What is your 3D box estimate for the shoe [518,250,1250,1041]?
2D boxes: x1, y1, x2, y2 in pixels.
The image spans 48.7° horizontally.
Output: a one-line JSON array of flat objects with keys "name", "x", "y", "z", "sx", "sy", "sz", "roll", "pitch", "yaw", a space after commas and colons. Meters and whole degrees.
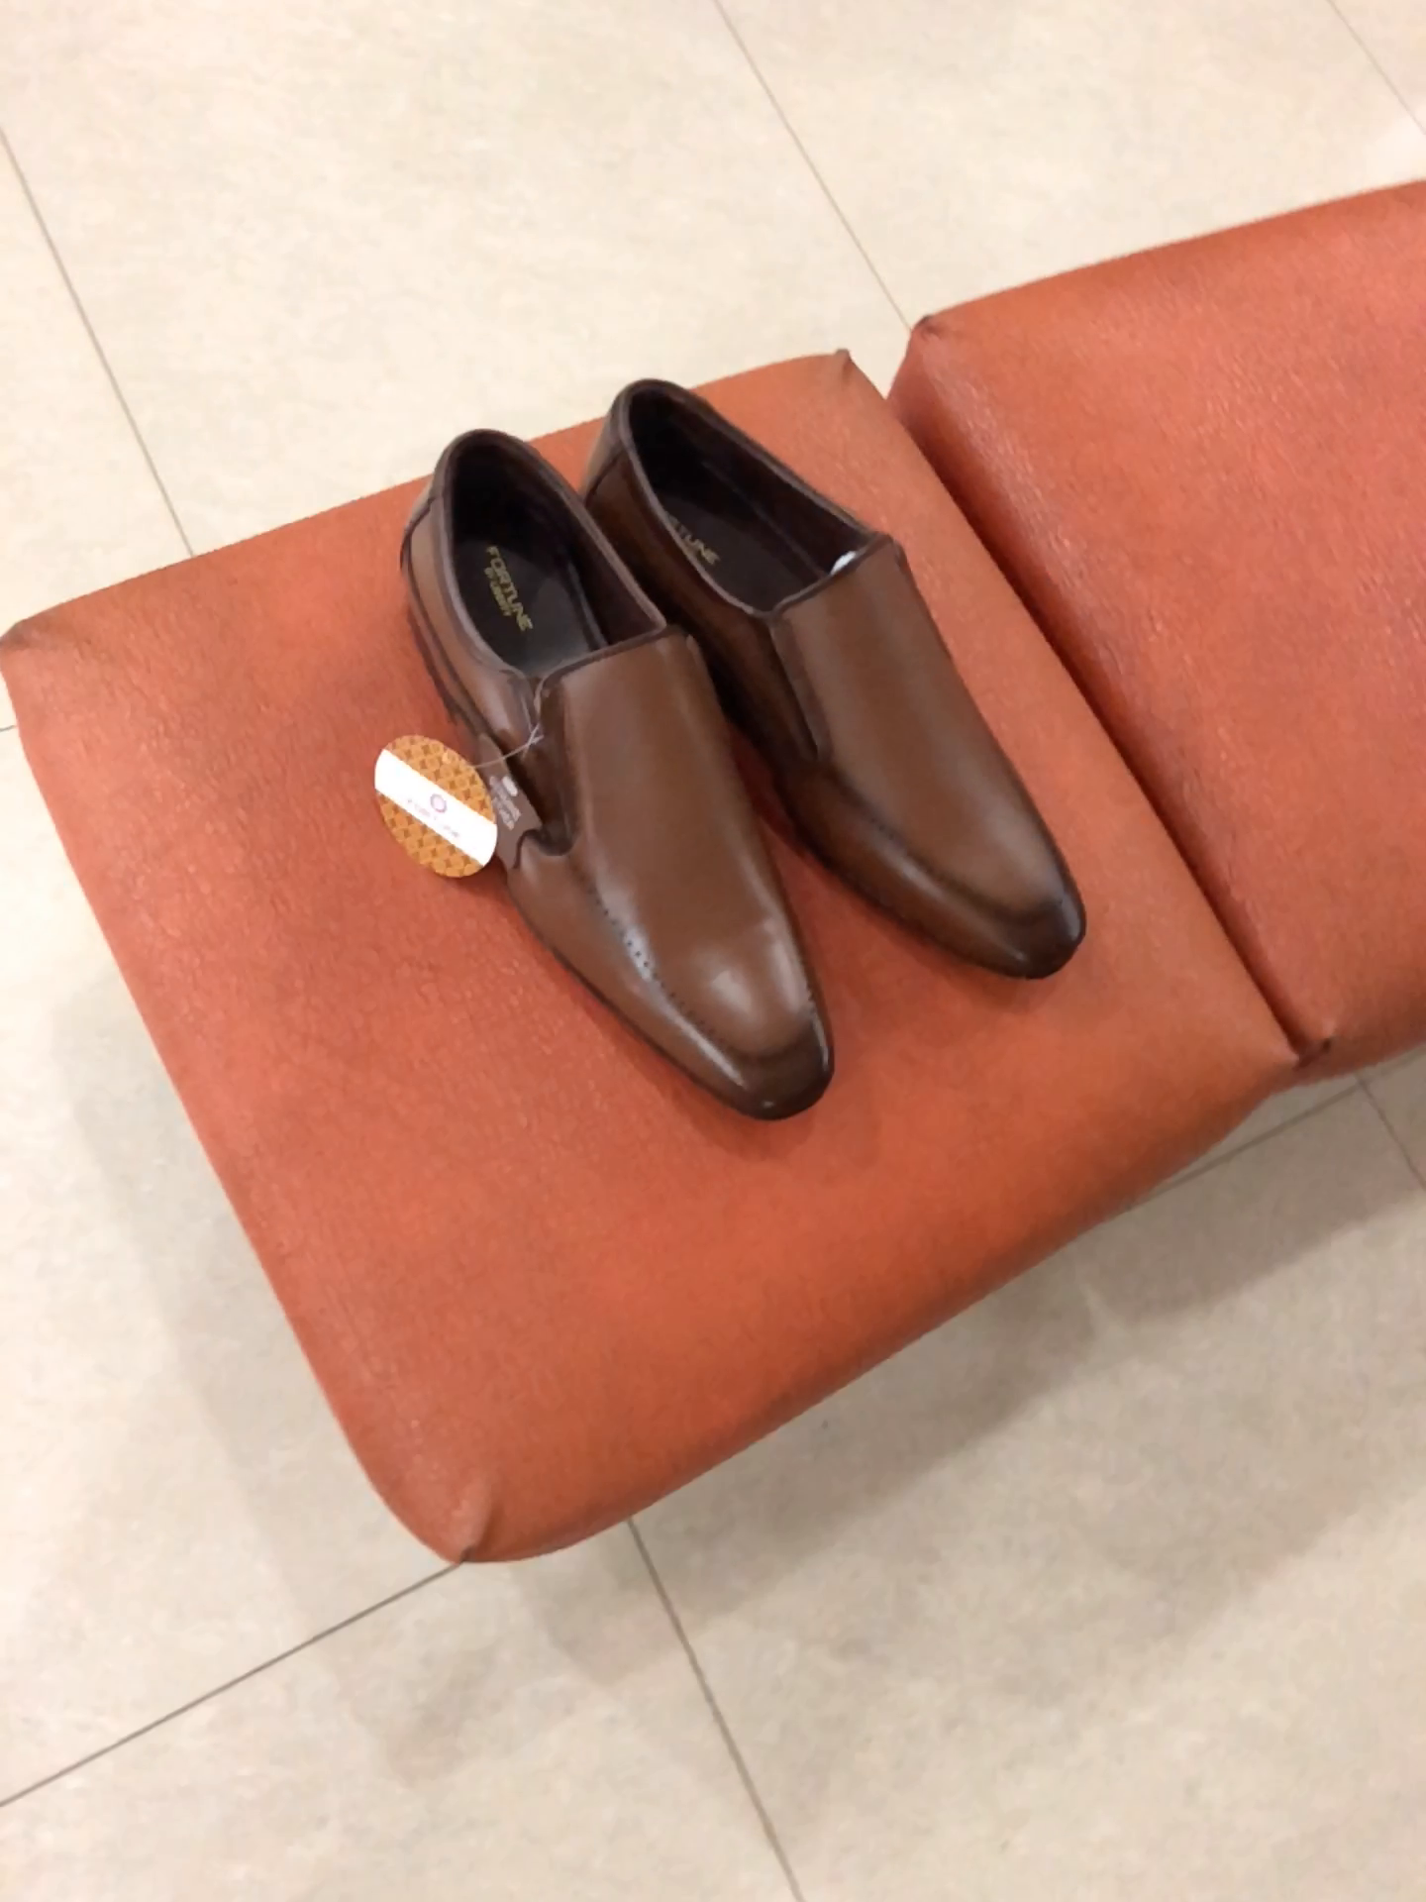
[{"name": "shoe", "x": 0.057, "y": -0.121, "z": 0.636, "sx": 0.101, "sy": 0.108, "sz": 0.295, "roll": -37, "pitch": 81, "yaw": -21}]

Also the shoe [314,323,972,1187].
[{"name": "shoe", "x": -0.039, "y": -0.072, "z": 0.610, "sx": 0.099, "sy": 0.128, "sz": 0.293, "roll": -27, "pitch": 78, "yaw": -19}]
